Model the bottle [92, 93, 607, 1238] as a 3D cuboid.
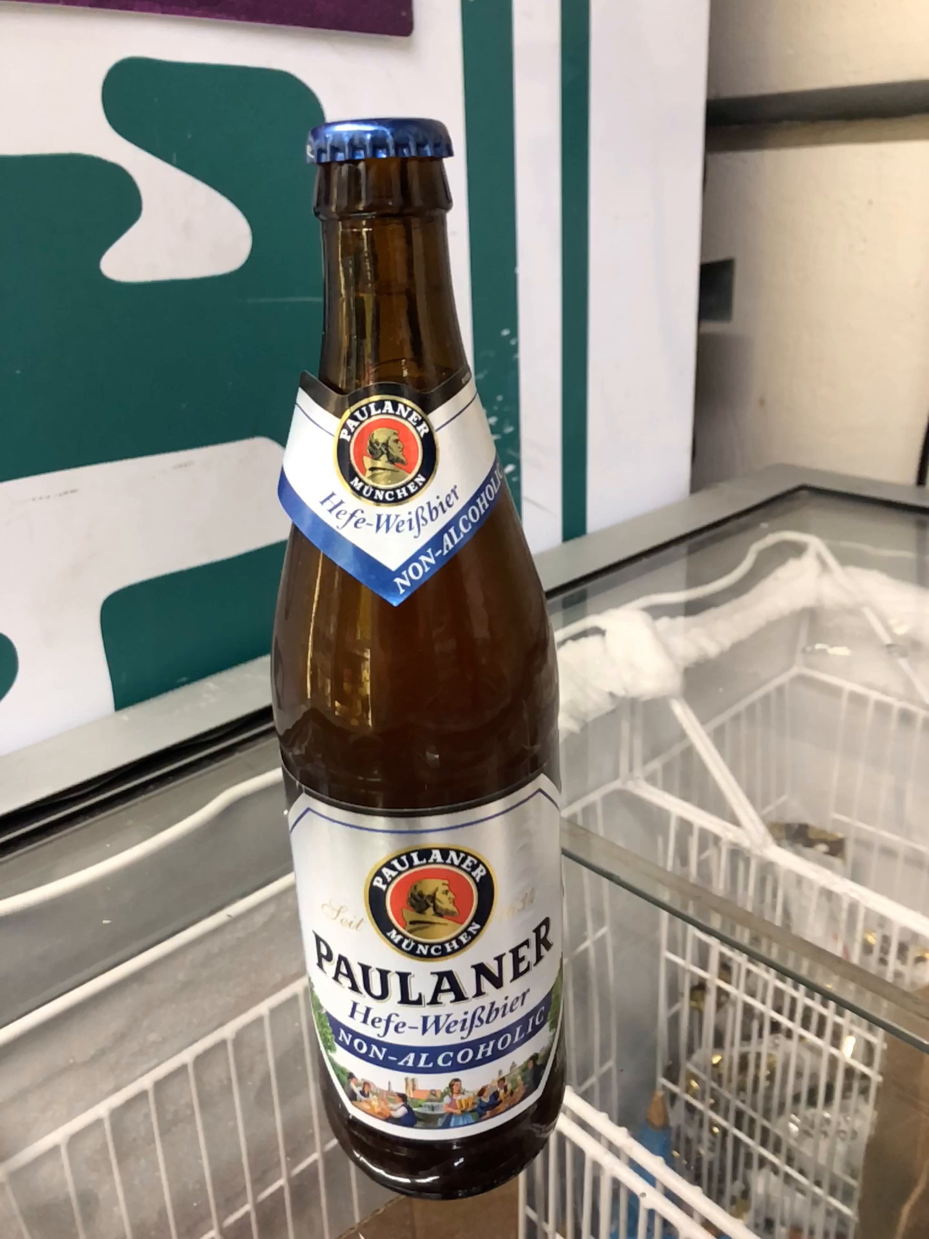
[{"bbox_3d":[-0.012,0.022,0.238,0.080,0.248,0.070,-2,22,2],"label":"bottle"}]
